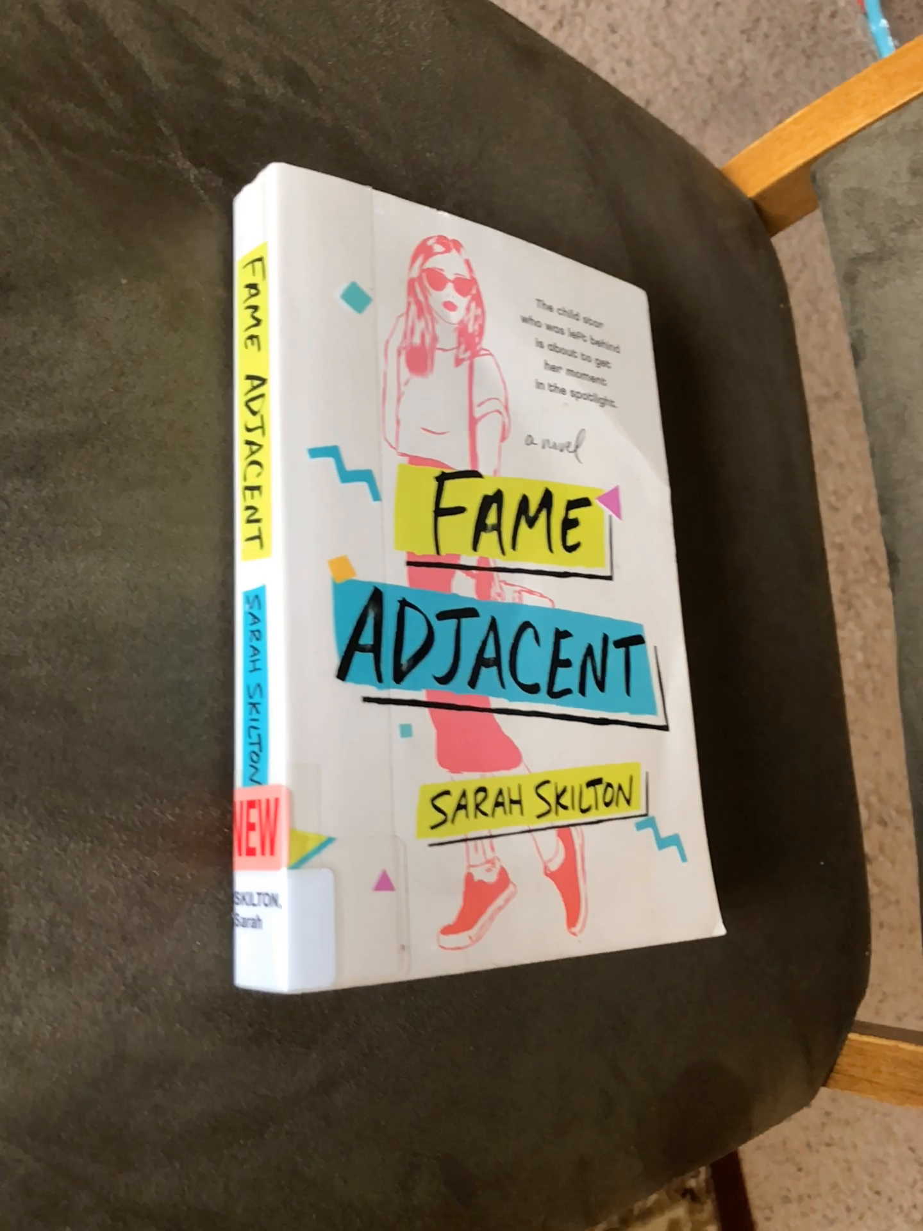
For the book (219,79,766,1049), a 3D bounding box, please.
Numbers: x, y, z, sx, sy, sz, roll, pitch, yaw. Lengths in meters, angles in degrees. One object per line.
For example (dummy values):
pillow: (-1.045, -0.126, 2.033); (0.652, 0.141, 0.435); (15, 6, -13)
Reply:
book: (0.009, -0.012, 0.280); (0.141, 0.040, 0.220); (5, 75, -34)
